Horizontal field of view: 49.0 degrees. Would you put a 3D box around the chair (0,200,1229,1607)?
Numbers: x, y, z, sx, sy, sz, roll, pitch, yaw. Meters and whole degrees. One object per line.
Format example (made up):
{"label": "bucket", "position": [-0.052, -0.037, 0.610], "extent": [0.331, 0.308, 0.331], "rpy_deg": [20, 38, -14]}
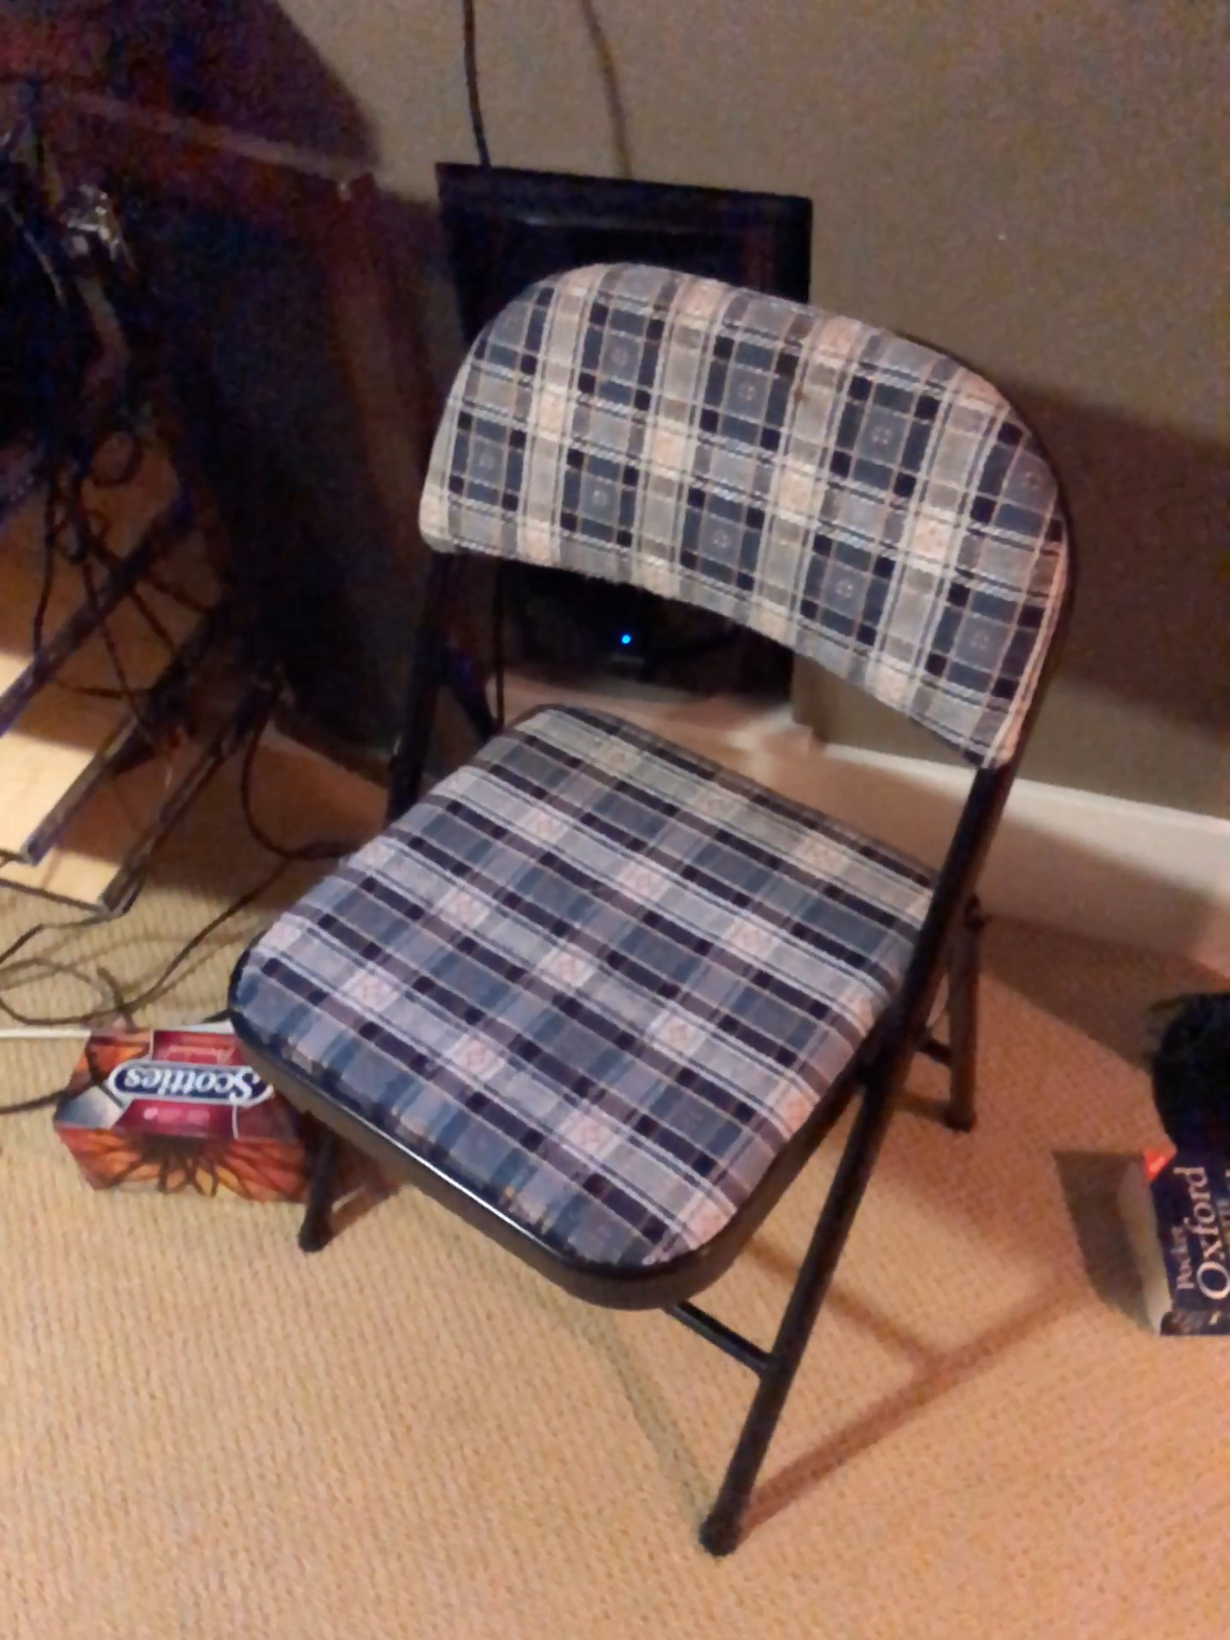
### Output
{"label": "chair", "position": [0.030, 0.062, 0.987], "extent": [0.502, 0.706, 0.562], "rpy_deg": [28, 56, 28]}
